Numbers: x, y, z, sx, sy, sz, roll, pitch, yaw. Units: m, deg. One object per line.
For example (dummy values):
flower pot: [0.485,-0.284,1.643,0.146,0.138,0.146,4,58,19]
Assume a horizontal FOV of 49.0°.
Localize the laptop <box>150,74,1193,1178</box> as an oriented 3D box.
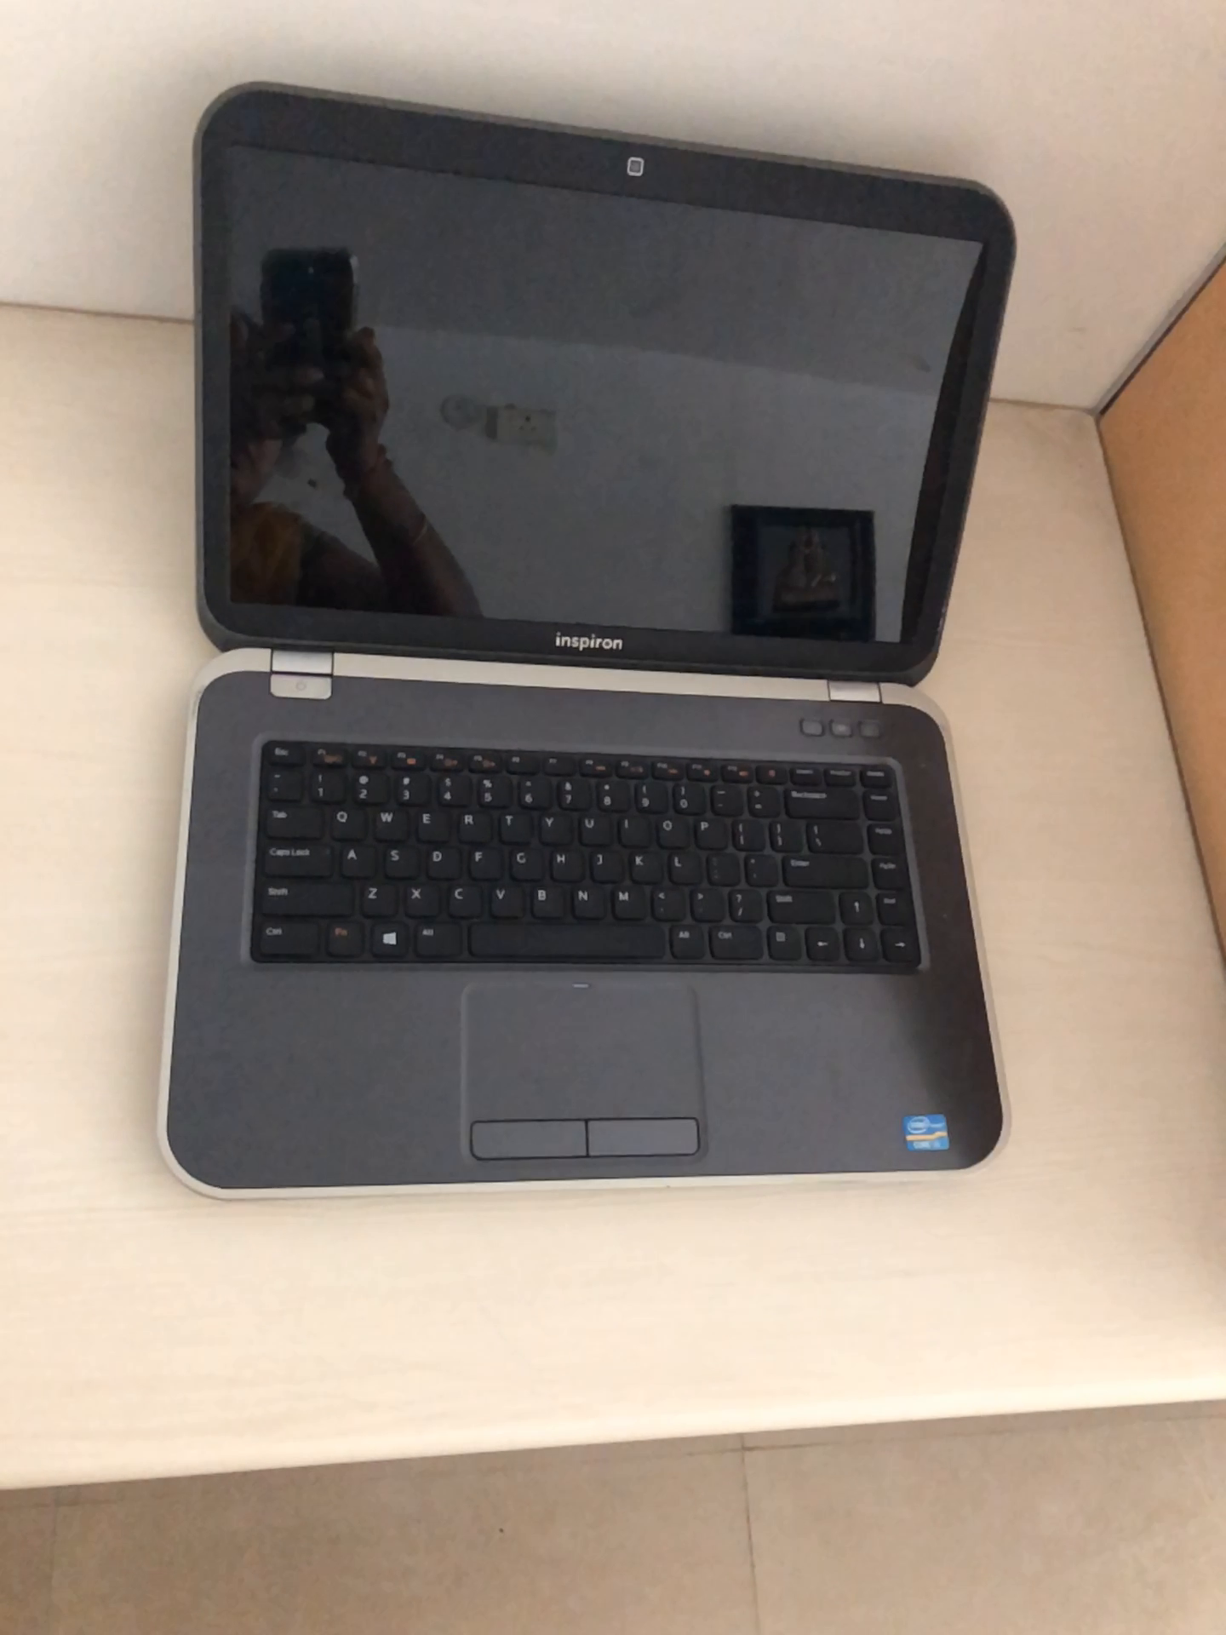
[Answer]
laptop: [0.007,-0.073,0.568,0.339,0.152,0.409,2,68,-12]
